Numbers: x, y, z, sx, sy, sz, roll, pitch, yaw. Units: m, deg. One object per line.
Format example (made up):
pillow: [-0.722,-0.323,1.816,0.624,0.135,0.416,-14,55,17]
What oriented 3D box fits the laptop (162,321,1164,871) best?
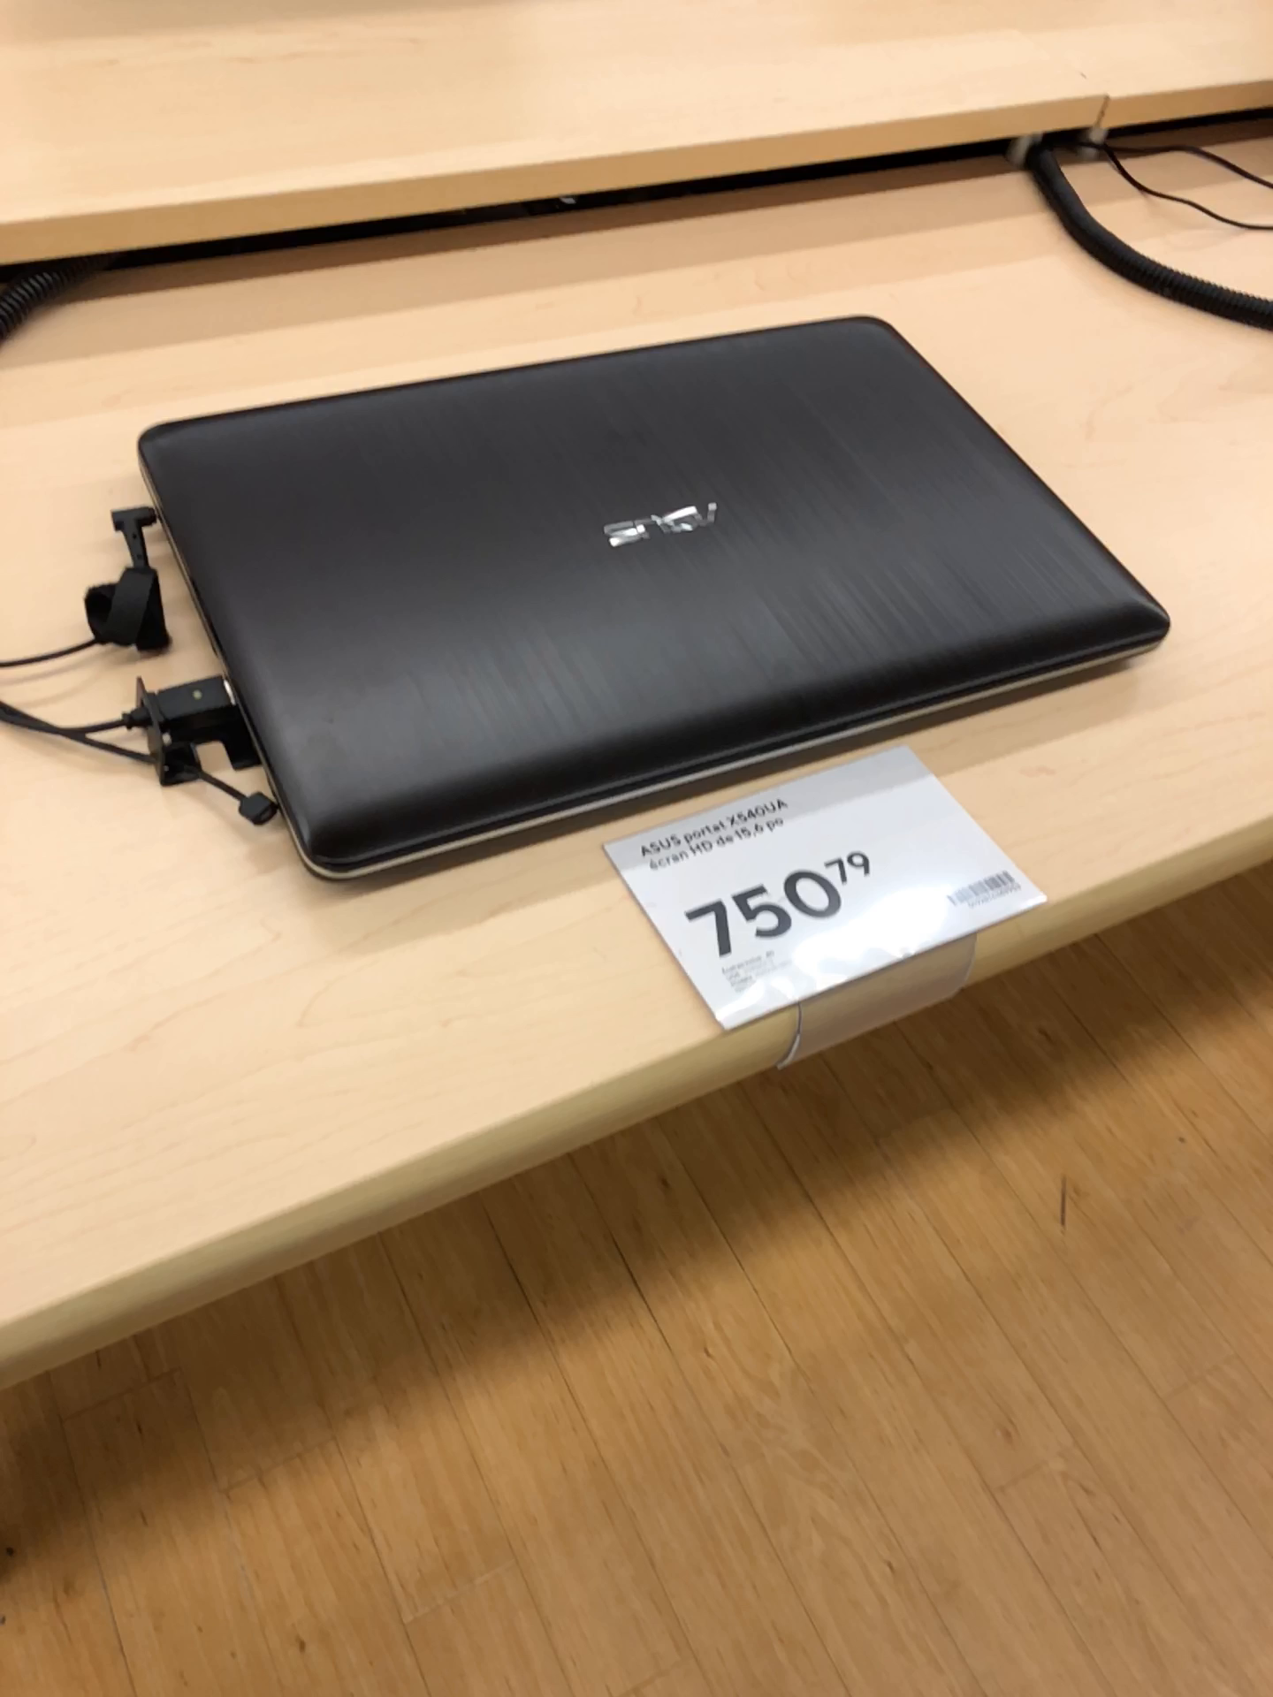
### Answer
laptop: [0.015,-0.131,0.594,0.369,0.010,0.228,-17,58,-22]
